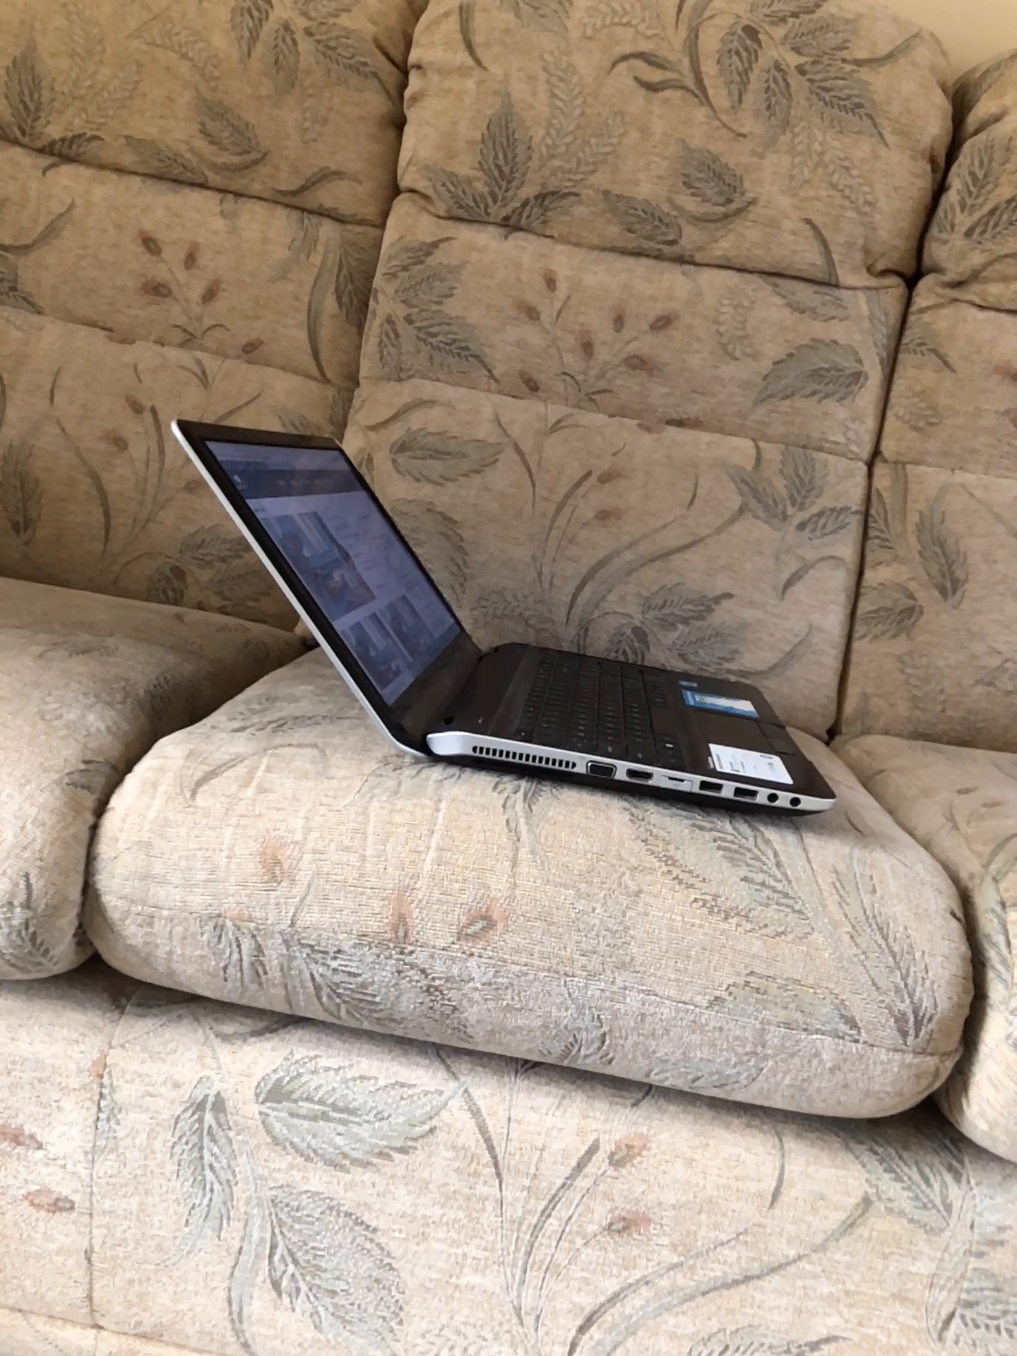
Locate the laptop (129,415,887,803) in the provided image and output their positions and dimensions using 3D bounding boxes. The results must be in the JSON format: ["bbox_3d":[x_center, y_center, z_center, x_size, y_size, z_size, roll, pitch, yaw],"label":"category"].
[{"bbox_3d":[0.012,-0.066,0.819,0.410,0.151,0.397,10,11,3],"label":"laptop"}]
